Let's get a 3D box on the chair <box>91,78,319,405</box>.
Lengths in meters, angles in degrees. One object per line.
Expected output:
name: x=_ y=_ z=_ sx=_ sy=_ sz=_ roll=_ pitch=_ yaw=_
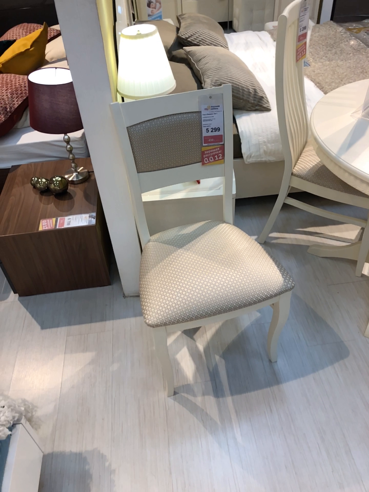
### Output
chair: x=0.044 y=0.025 z=1.389 sx=0.470 sy=0.946 sz=0.474 roll=-14 pitch=43 yaw=-11
